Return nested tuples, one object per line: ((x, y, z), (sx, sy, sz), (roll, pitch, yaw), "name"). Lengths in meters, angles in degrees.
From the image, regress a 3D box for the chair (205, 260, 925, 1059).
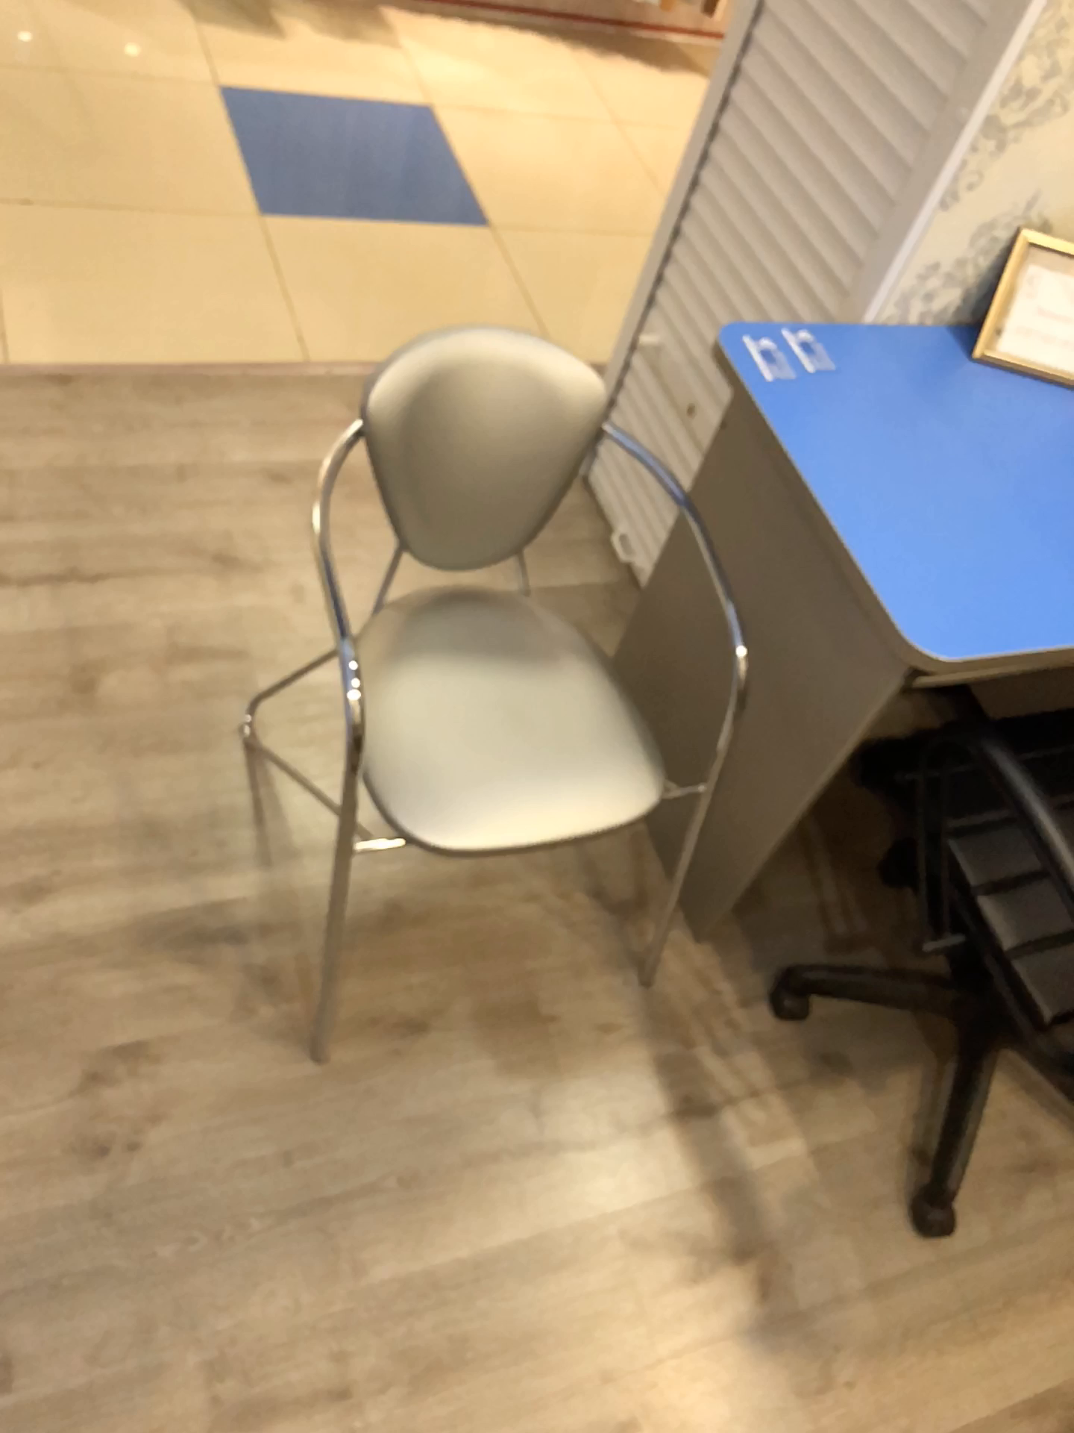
((-0.064, -0.086, 1.679), (0.612, 0.747, 0.731), (-9, 56, -24), "chair")
